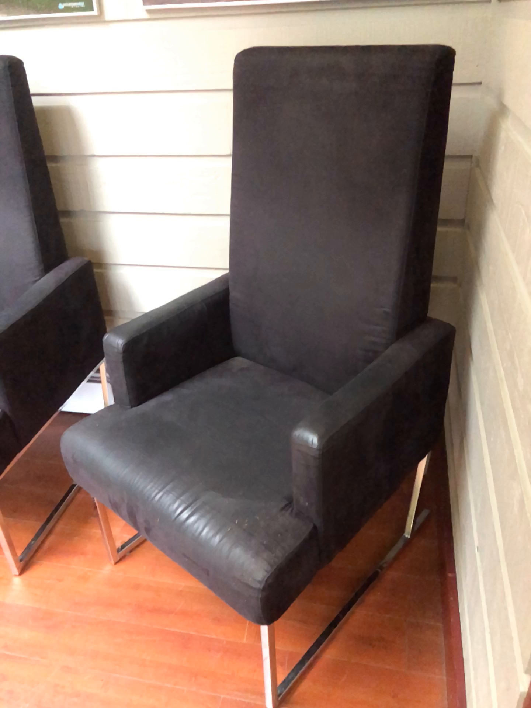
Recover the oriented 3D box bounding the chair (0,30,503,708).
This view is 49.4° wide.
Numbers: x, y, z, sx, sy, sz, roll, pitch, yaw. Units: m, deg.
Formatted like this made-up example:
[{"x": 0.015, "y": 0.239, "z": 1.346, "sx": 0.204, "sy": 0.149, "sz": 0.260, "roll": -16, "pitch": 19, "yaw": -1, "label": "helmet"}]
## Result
[{"x": -0.044, "y": -0.024, "z": 1.197, "sx": 0.632, "sy": 1.083, "sz": 0.702, "roll": 22, "pitch": 38, "yaw": 37, "label": "chair"}]
